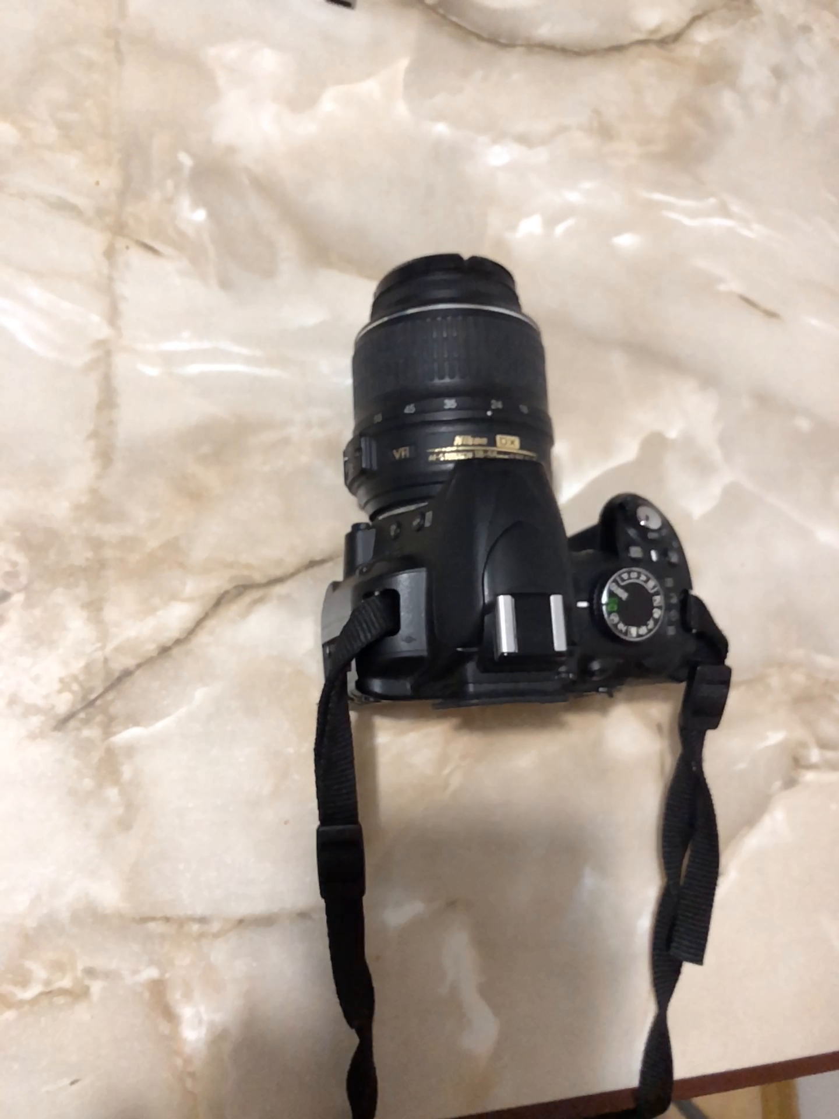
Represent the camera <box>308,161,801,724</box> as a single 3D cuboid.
[{"bbox_3d":[0.036,-0.029,0.323,0.126,0.100,0.160,0,79,-18],"label":"camera"}]
